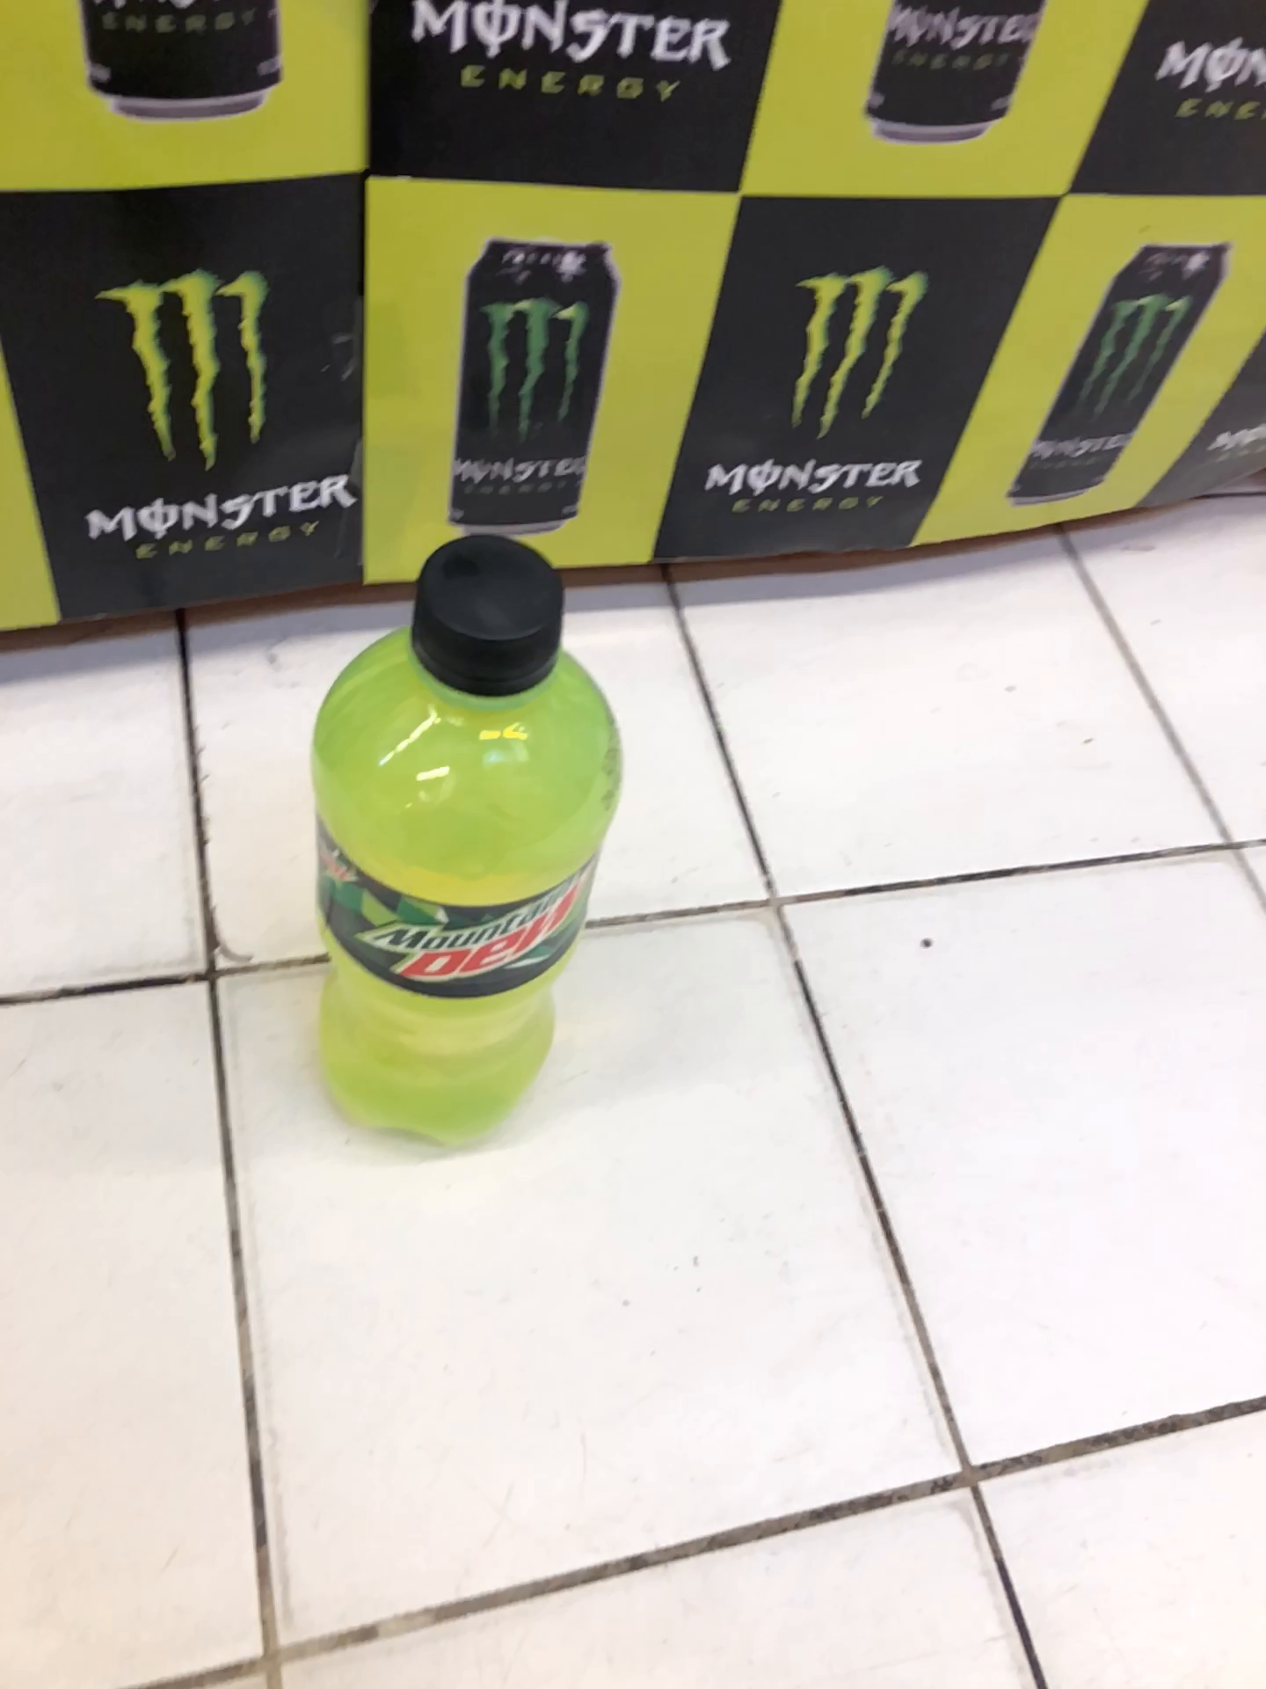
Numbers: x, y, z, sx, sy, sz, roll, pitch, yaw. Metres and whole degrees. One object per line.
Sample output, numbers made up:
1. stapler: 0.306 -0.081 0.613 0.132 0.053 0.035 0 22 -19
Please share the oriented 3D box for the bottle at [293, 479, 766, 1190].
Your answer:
1. bottle: -0.038 0.010 0.354 0.080 0.199 0.070 -7 57 -16
